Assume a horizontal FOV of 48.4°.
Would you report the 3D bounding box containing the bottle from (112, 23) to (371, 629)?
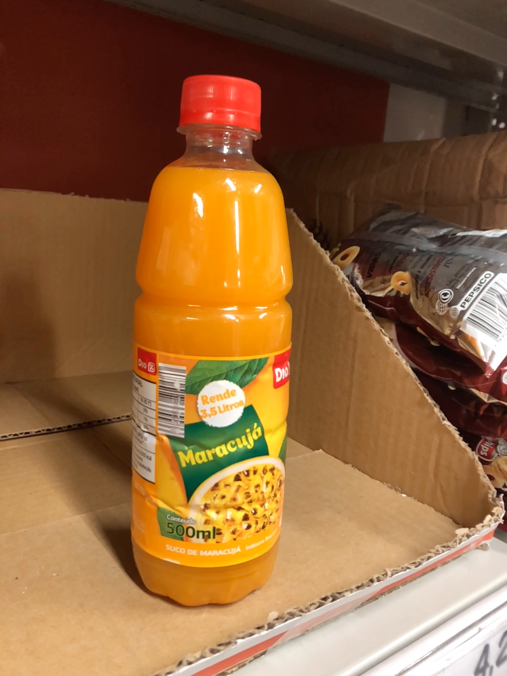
[{"bbox_3d":[-0.013,-0.002,0.228,0.070,0.199,0.070,4,12,-1],"label":"bottle"}]
